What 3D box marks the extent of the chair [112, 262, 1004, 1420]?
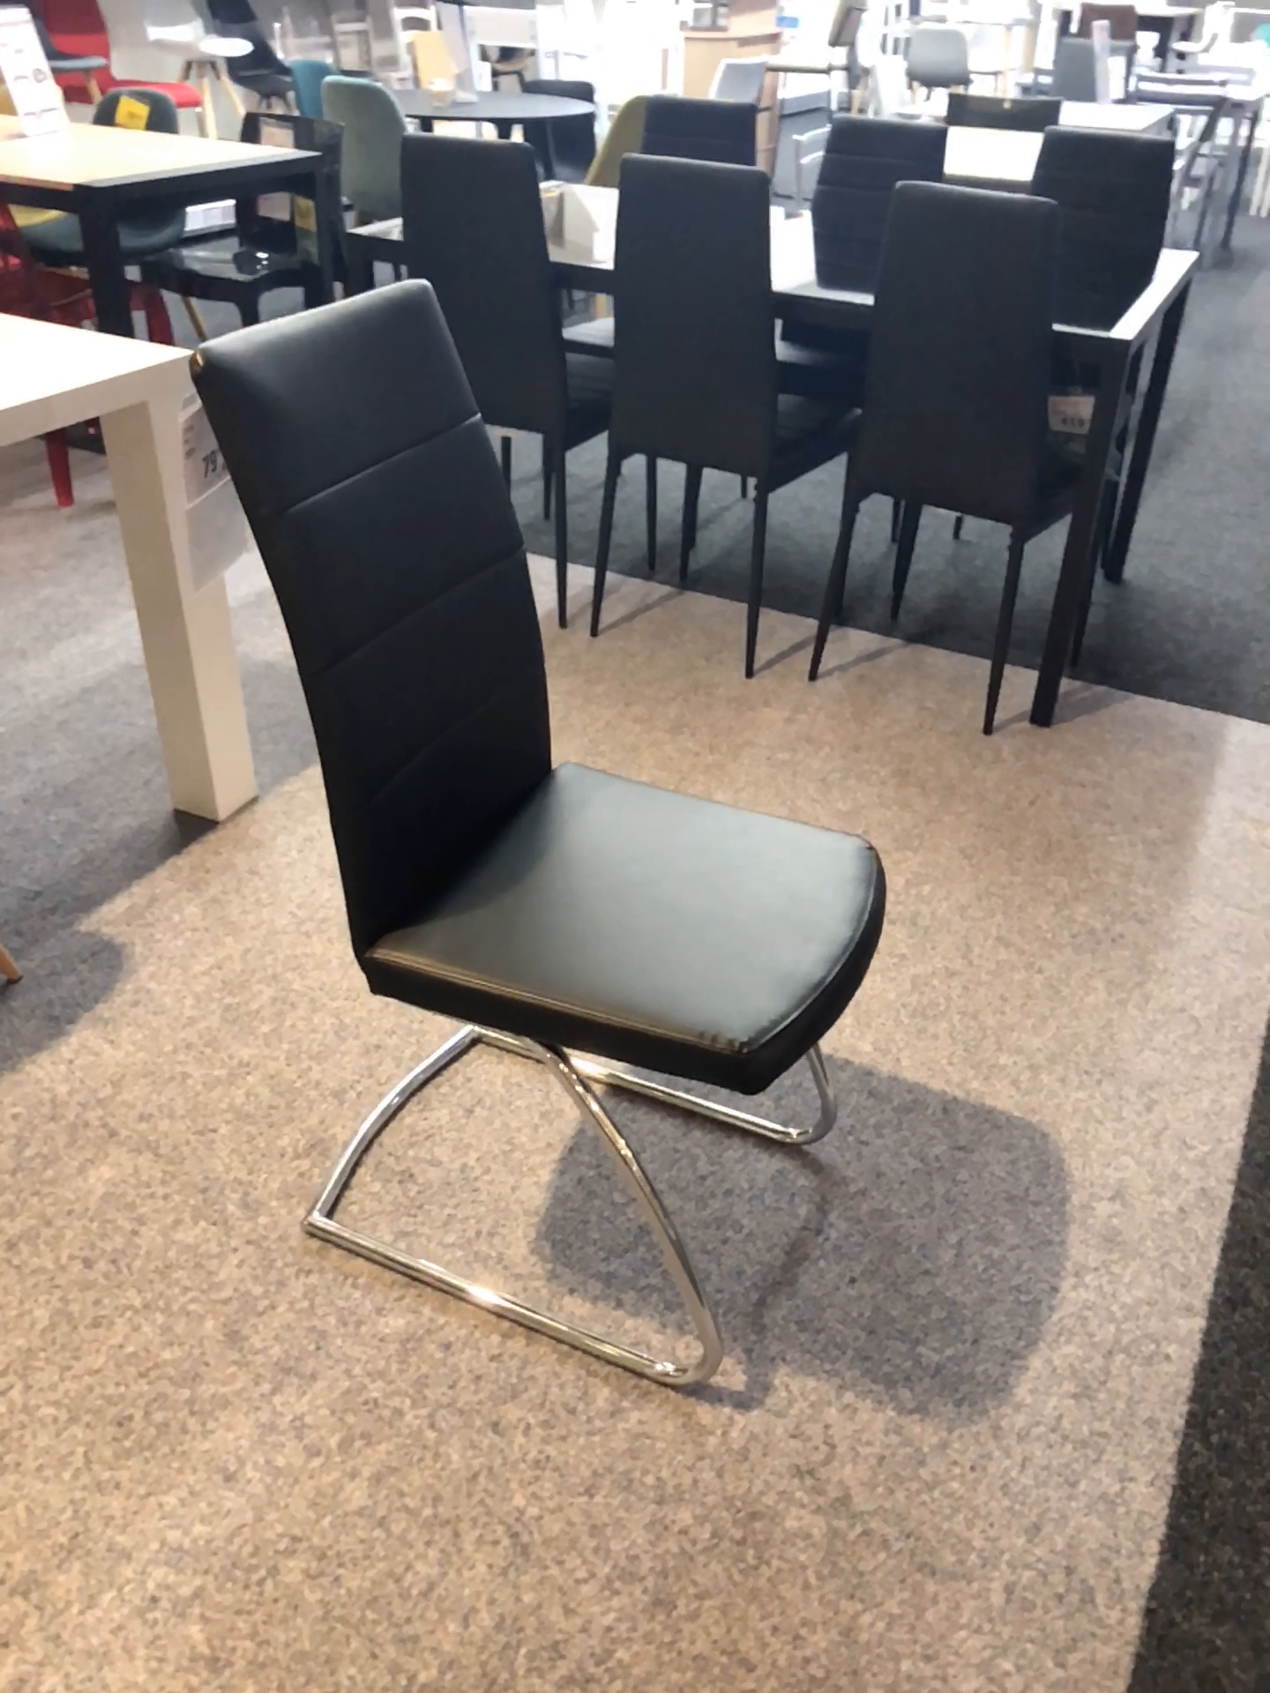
[{"bbox_3d":[-0.044,-0.022,1.365,0.560,0.905,0.493,15,34,19],"label":"chair"}]
